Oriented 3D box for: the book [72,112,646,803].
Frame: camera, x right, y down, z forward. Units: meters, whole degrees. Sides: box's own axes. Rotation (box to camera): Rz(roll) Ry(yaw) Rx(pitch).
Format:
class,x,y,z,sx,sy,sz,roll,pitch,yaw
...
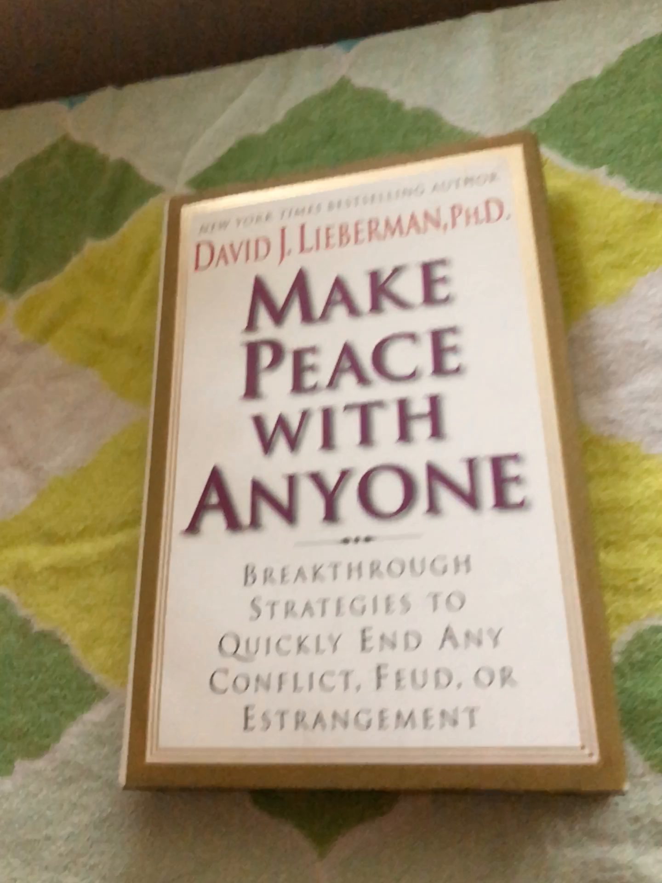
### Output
class,x,y,z,sx,sy,sz,roll,pitch,yaw
book,0.003,-0.001,0.235,0.146,0.030,0.205,-6,67,13
